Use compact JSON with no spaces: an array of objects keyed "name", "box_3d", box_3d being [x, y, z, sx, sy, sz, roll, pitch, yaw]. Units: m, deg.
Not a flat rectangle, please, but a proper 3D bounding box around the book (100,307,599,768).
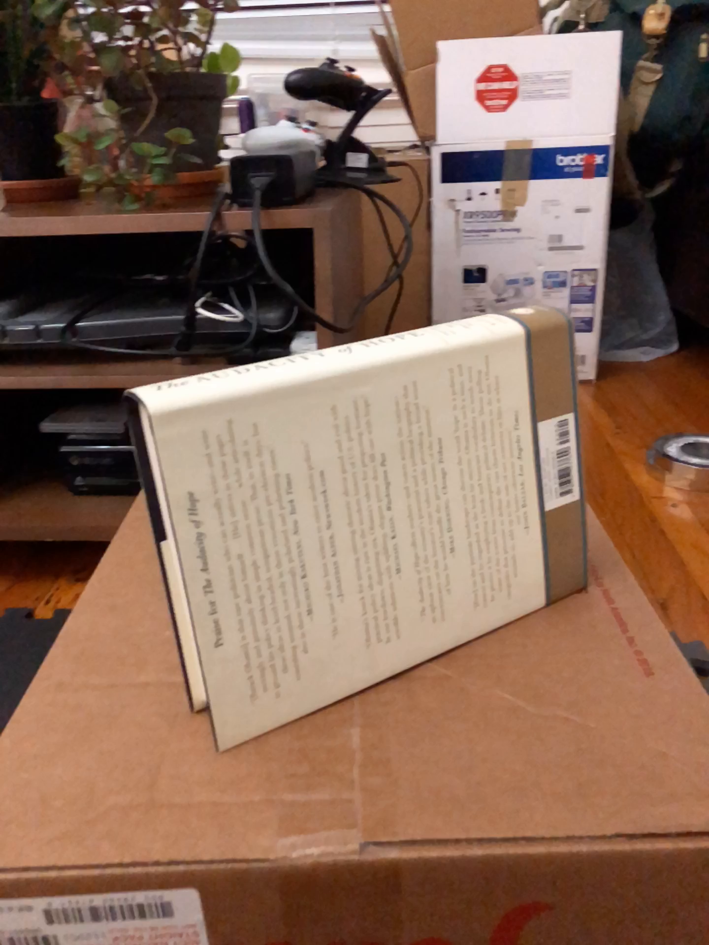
[{"name":"book","box_3d":[0.015,0.015,0.411,0.250,0.169,0.060,-15,16,-29]}]
